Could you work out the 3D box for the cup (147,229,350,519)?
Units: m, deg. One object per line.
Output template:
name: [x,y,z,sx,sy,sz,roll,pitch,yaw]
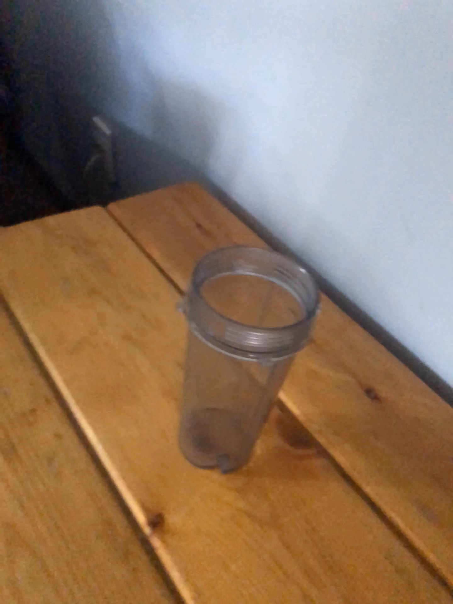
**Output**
cup: [0.005,0.059,0.373,0.080,0.189,0.090,38,50,27]
